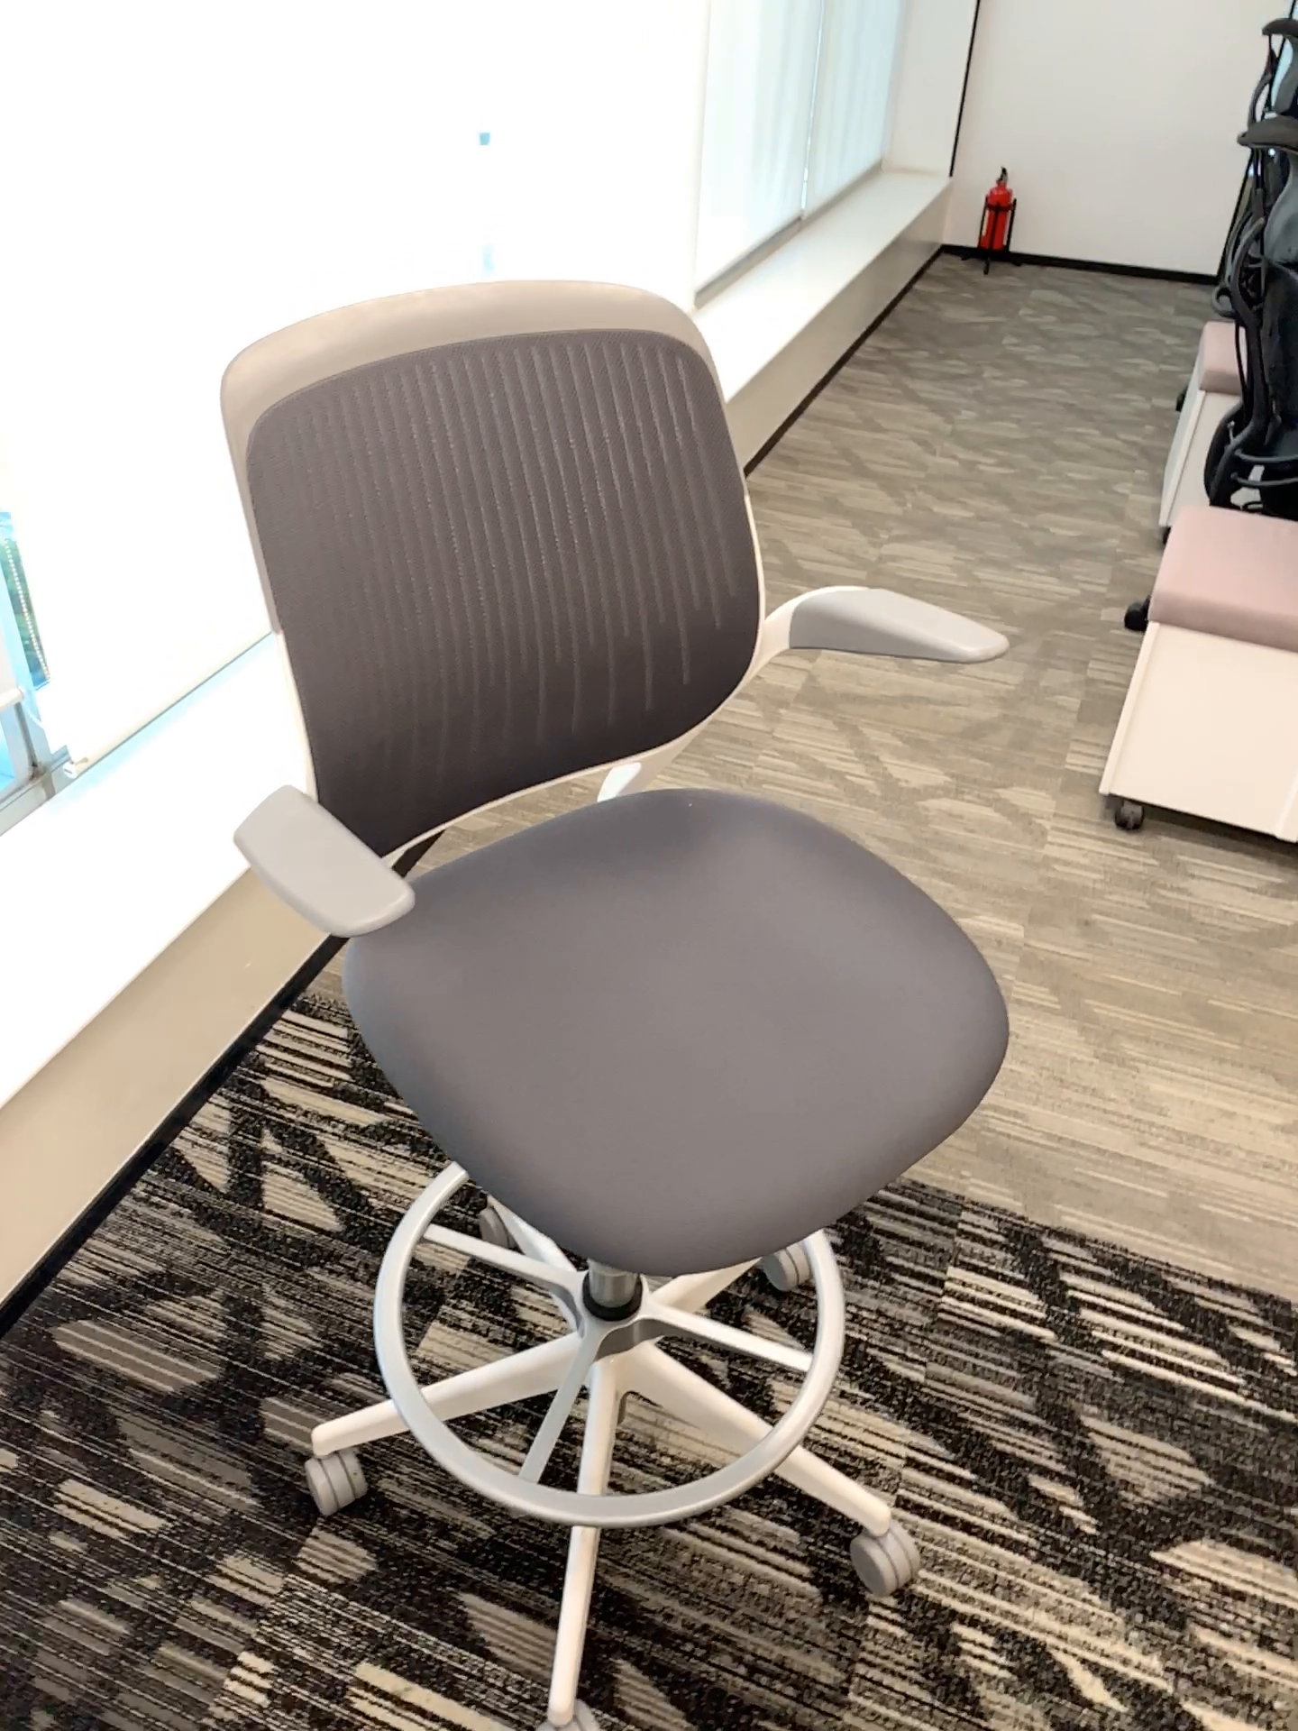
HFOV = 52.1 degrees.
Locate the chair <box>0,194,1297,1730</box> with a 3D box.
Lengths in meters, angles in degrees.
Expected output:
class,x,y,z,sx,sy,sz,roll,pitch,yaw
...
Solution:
class,x,y,z,sx,sy,sz,roll,pitch,yaw
chair,-0.031,0.157,1.131,0.692,1.140,0.694,-22,44,-28
